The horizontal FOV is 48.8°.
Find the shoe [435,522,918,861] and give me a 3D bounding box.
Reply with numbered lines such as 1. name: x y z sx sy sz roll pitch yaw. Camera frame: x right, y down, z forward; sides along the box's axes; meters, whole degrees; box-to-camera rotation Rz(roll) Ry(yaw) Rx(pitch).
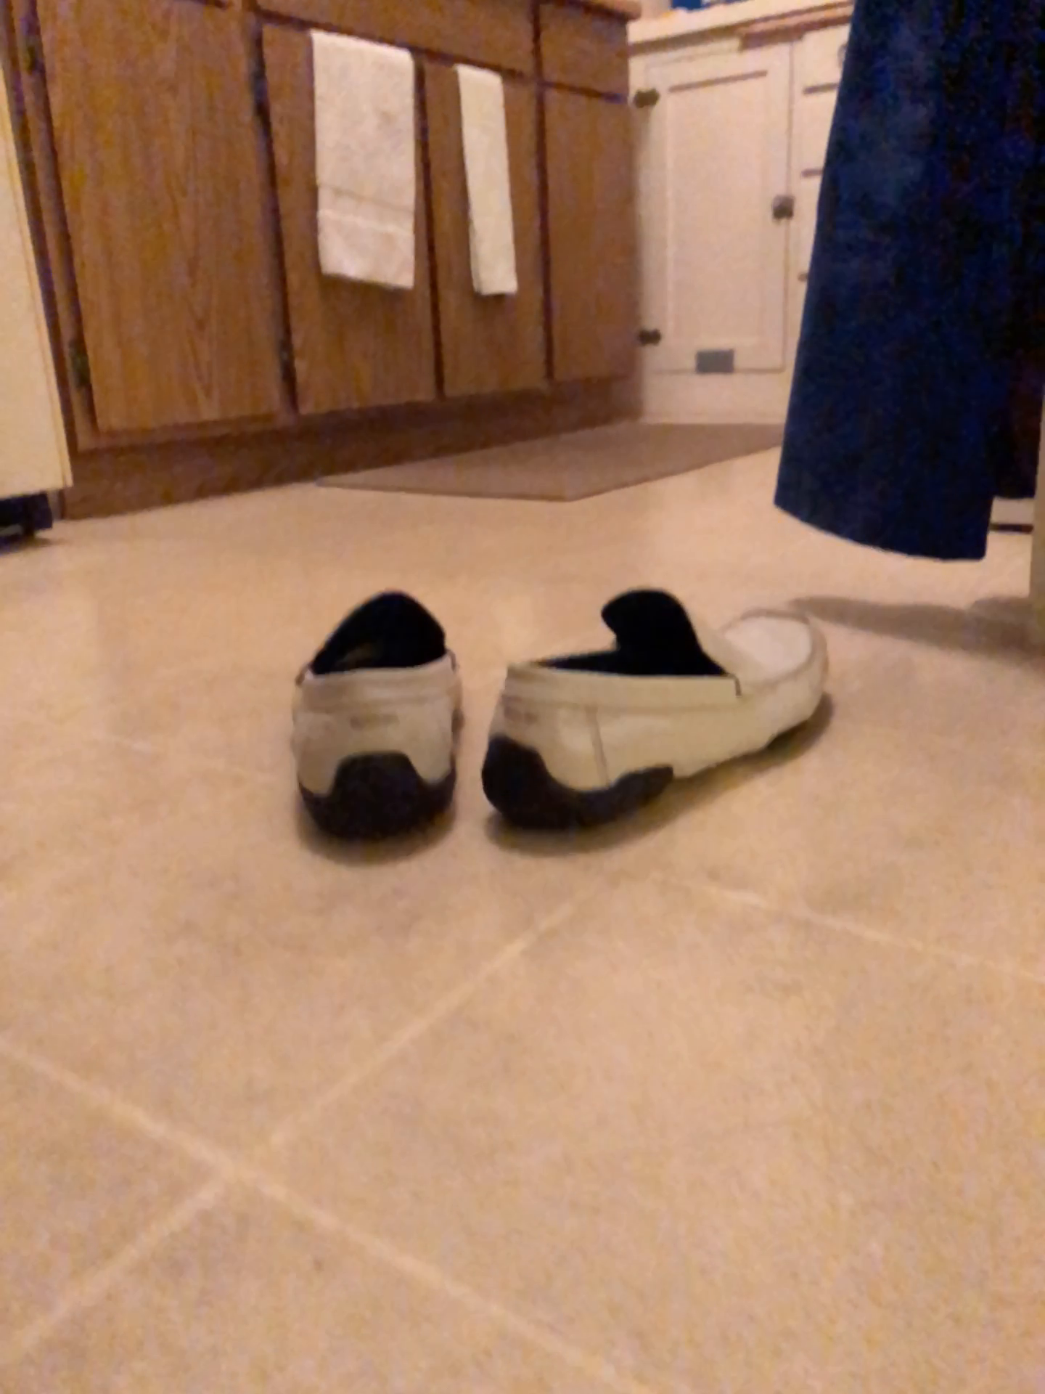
1. shoe: 0.098 -0.021 0.632 0.111 0.097 0.290 13 24 41

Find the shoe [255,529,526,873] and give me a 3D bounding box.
1. shoe: -0.074 -0.018 0.653 0.110 0.097 0.308 -5 18 -6
